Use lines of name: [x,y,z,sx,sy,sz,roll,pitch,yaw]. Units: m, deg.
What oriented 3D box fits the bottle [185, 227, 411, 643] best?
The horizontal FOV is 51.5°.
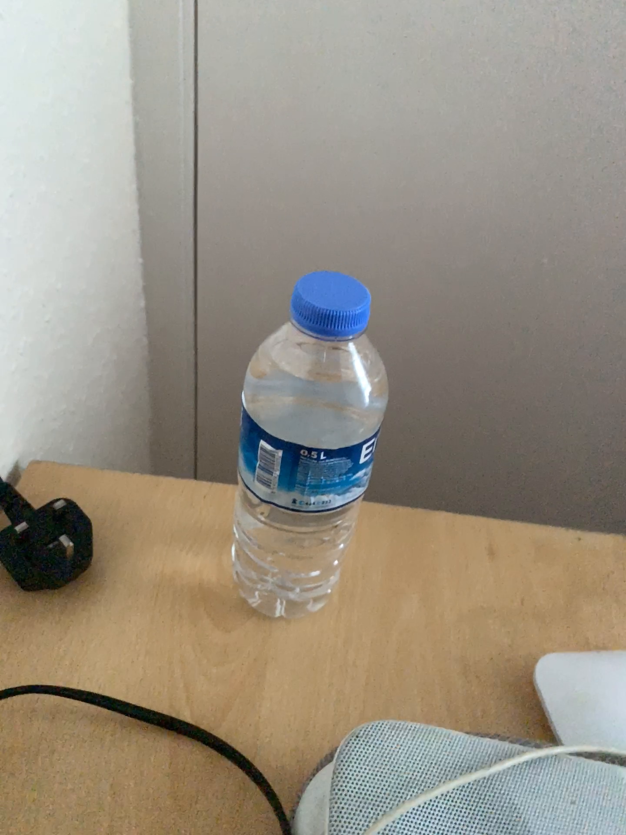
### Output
bottle: [-0.014,0.016,0.321,0.070,0.188,0.071,5,38,-4]
